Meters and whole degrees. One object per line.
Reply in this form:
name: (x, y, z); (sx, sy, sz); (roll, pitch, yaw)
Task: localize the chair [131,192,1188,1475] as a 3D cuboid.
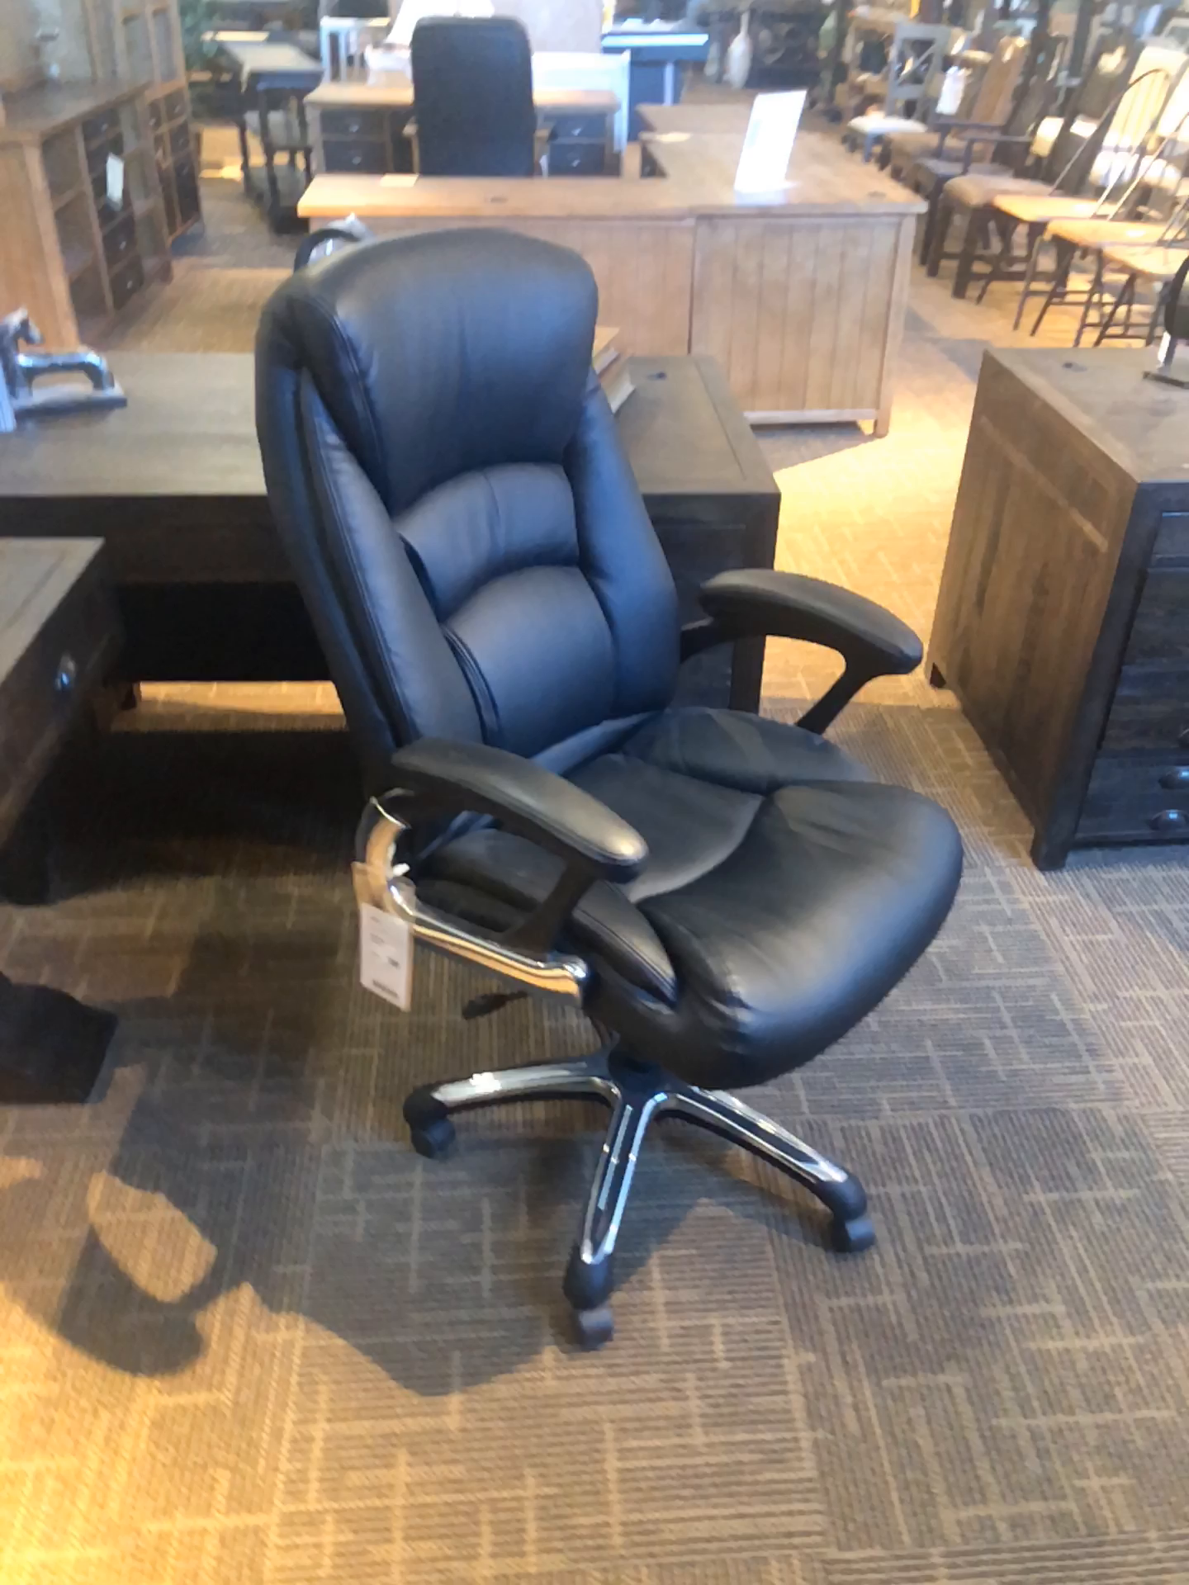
chair: (0.082, -0.015, 1.533); (0.769, 1.118, 0.704); (25, 40, 31)
